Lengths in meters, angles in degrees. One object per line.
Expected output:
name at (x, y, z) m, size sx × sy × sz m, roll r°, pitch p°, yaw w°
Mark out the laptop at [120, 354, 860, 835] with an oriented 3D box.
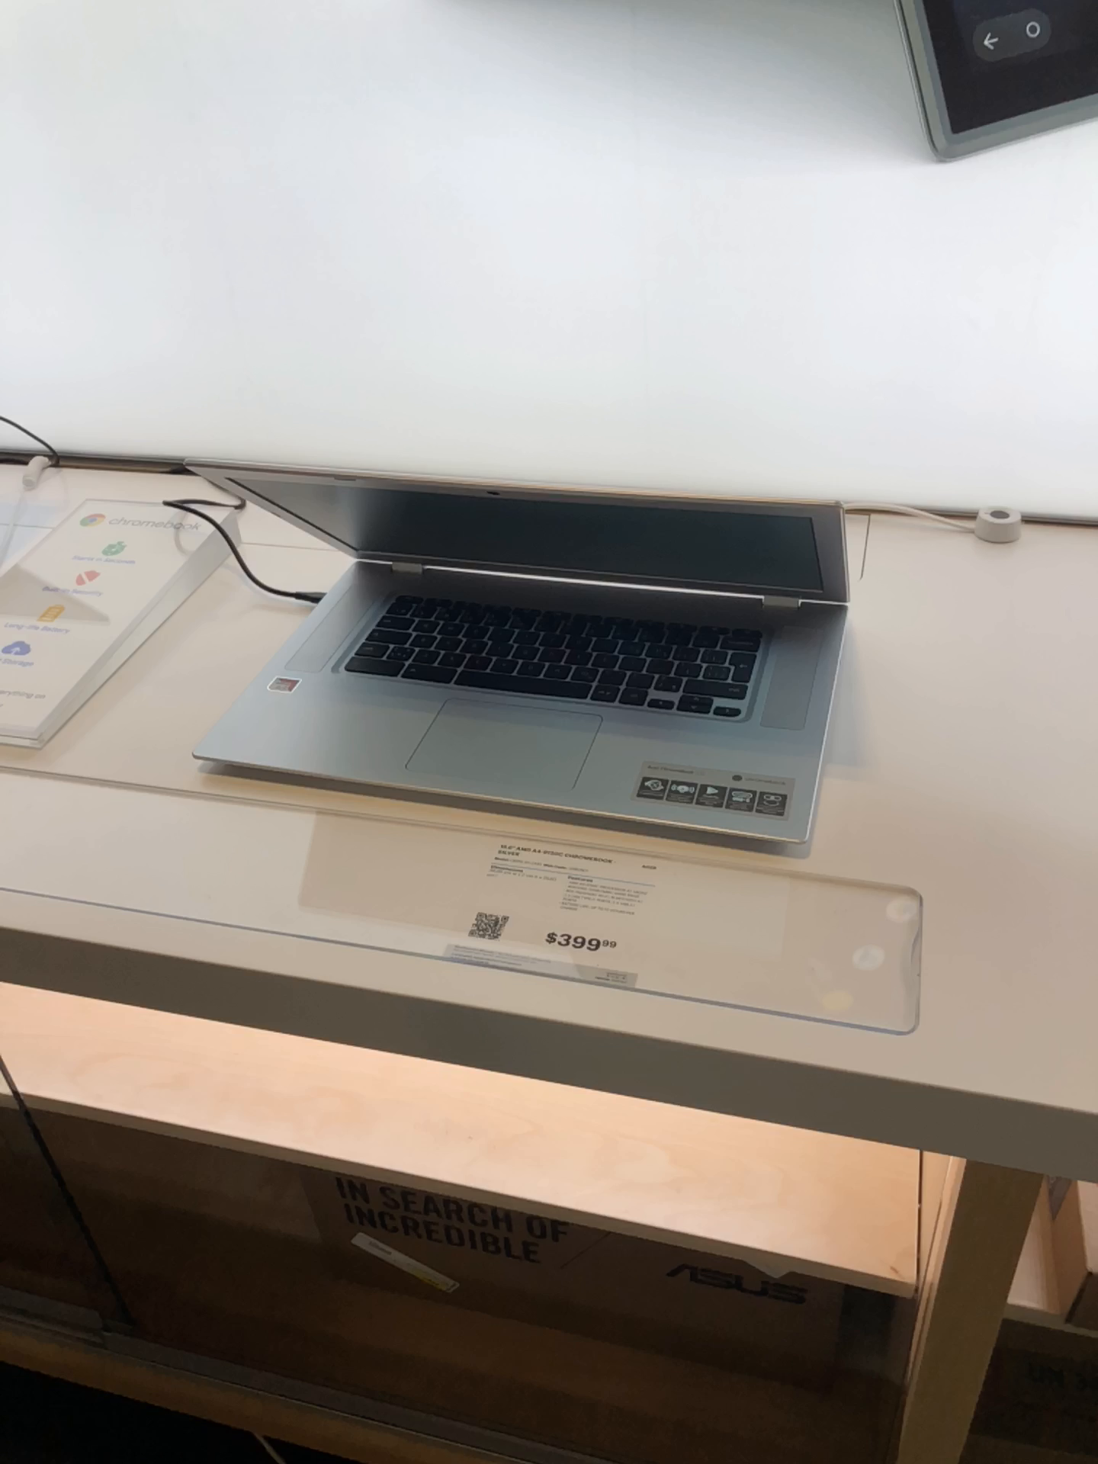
laptop at (-0.015, -0.105, 0.747) m, size 0.368 × 0.166 × 0.256 m, roll 7°, pitch 37°, yaw 16°
